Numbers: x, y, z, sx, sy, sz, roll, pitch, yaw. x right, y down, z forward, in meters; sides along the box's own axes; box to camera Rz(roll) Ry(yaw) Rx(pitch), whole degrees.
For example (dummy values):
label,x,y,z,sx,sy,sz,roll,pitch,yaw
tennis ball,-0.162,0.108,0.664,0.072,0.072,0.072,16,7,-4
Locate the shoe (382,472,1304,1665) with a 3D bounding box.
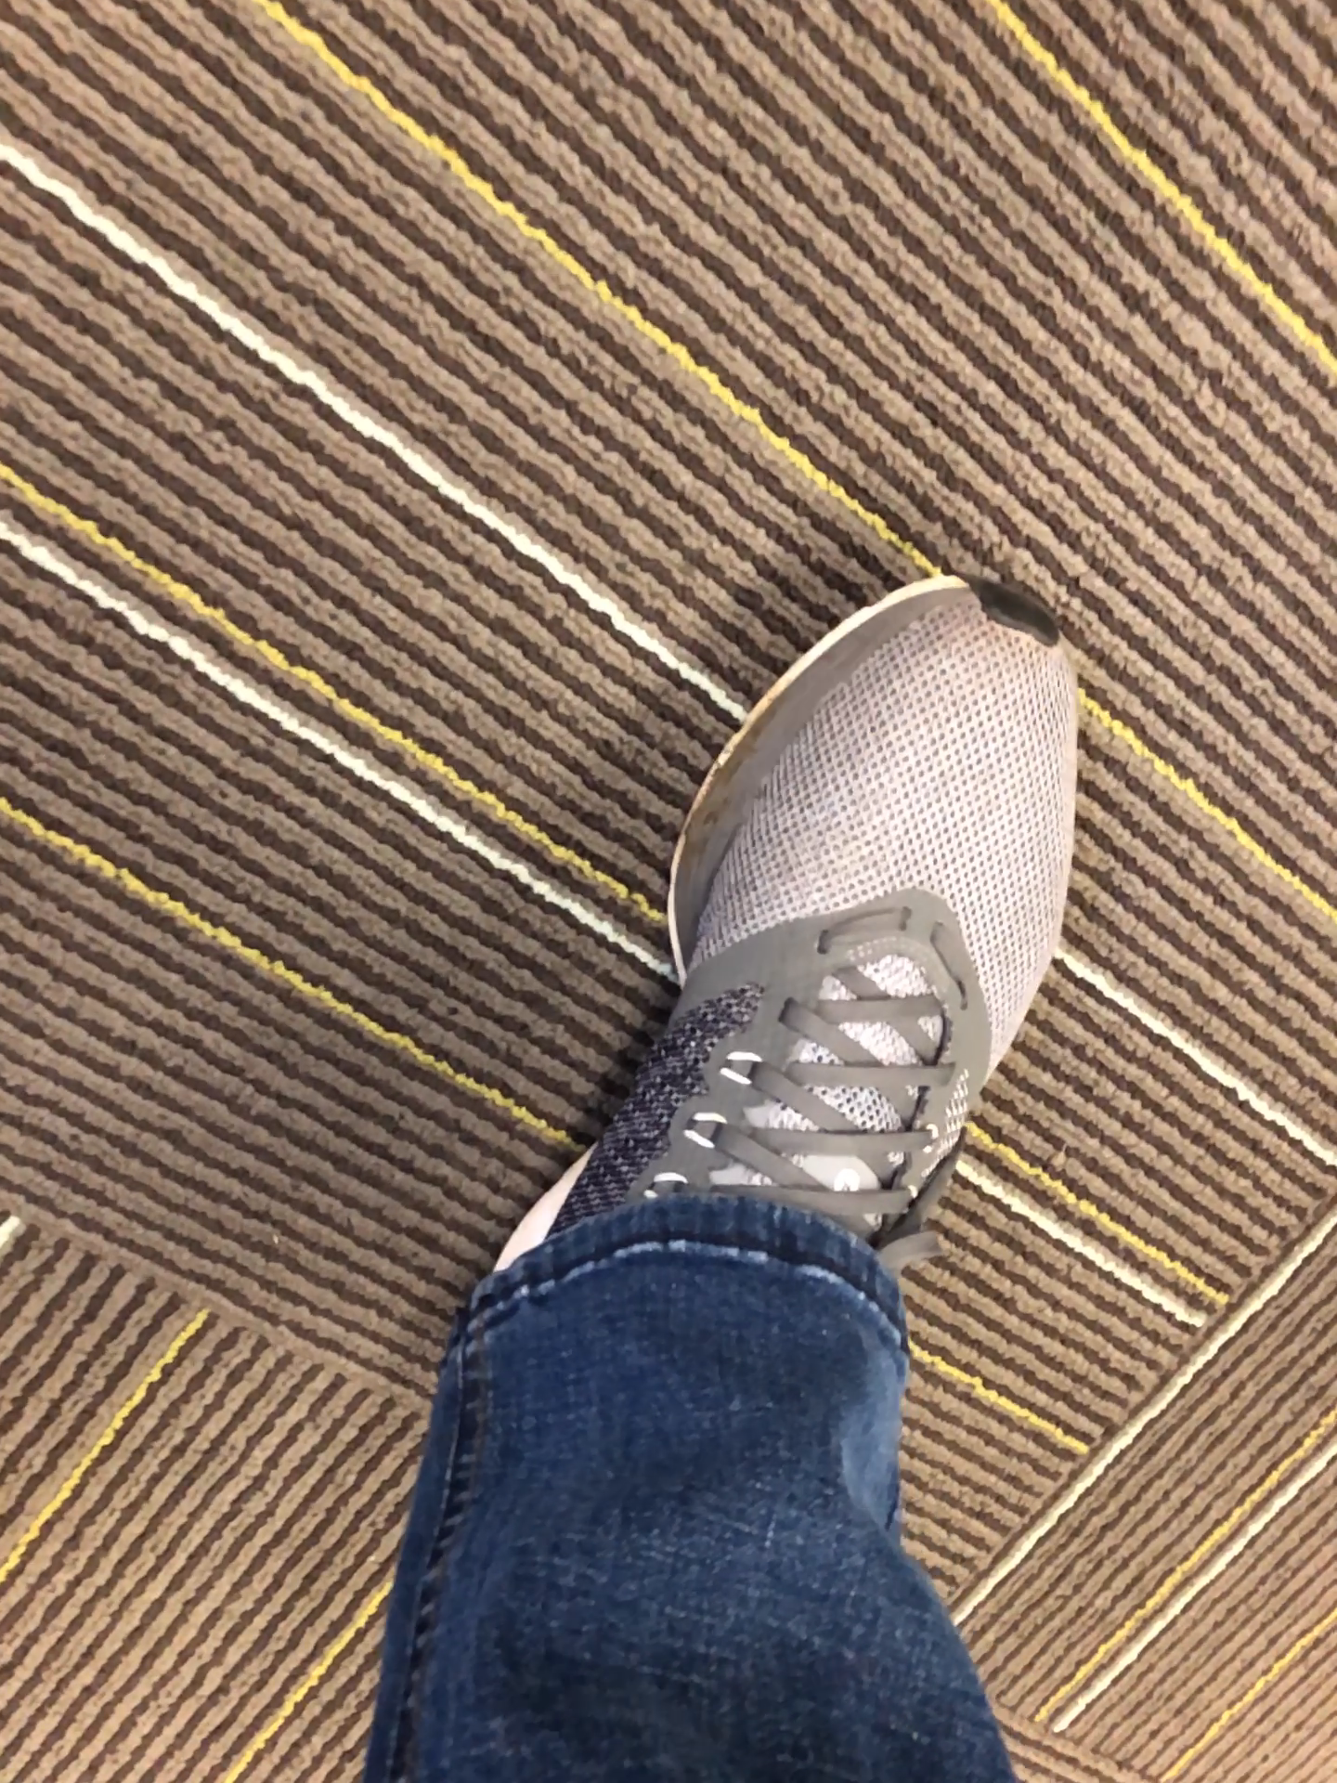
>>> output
label,x,y,z,sx,sy,sz,roll,pitch,yaw
shoe,0.039,0.053,0.406,0.120,0.060,0.300,24,97,-17
